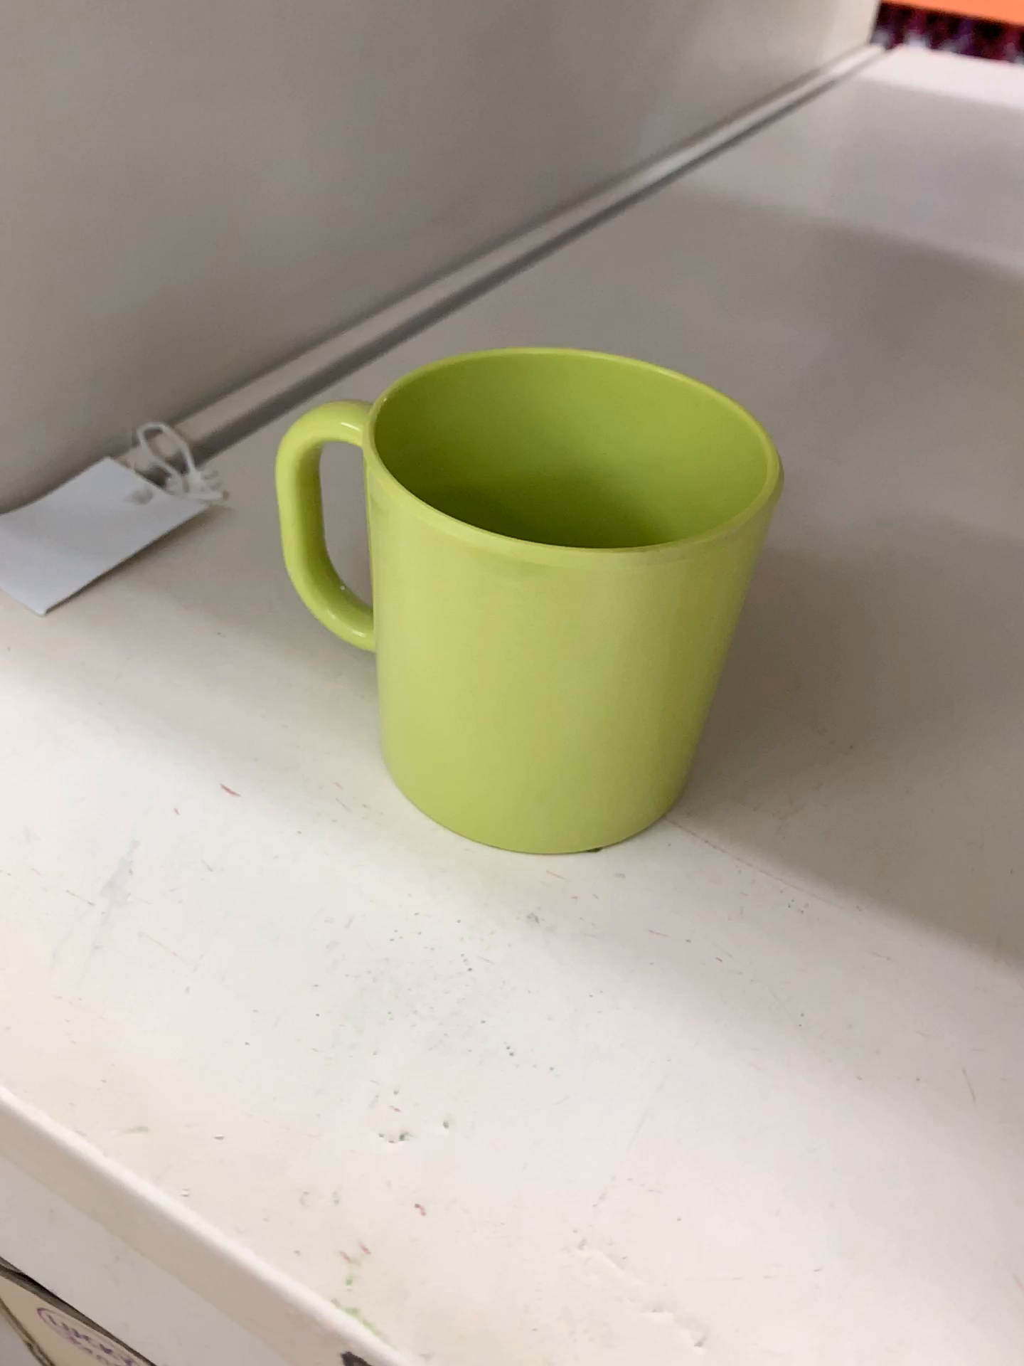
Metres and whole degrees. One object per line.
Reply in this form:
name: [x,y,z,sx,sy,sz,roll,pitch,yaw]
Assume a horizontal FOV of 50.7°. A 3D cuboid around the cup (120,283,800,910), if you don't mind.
cup: [-0.005,-0.021,0.199,0.089,0.063,0.078,16,41,14]
